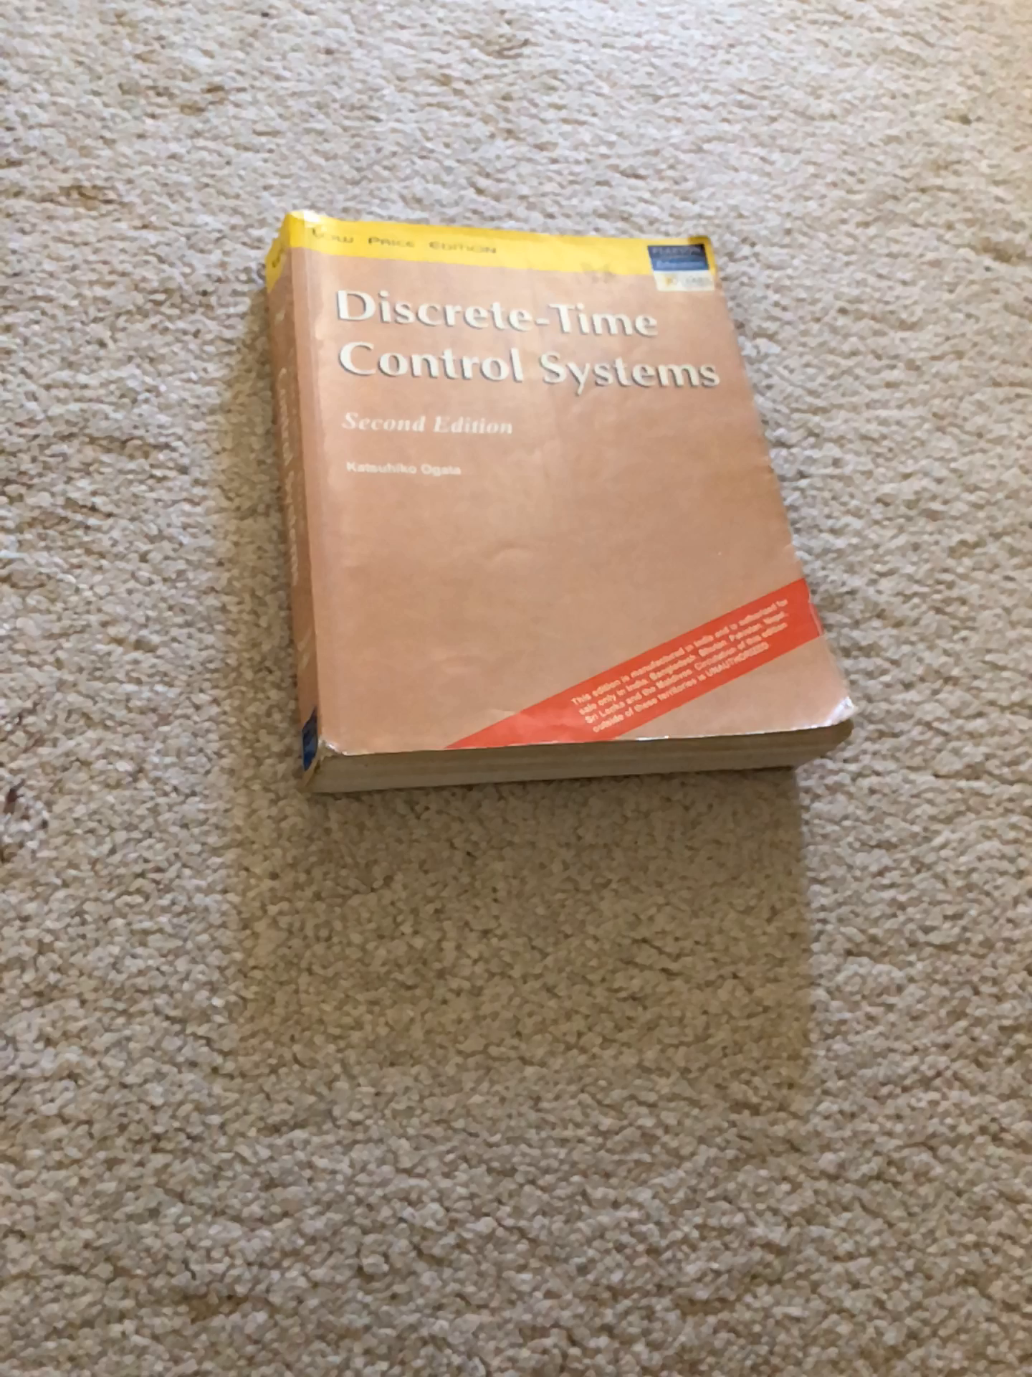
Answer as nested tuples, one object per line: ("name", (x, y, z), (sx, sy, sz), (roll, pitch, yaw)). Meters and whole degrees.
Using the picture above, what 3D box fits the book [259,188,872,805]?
("book", (0.007, -0.079, 0.424), (0.186, 0.035, 0.238), (-2, 63, -16))
